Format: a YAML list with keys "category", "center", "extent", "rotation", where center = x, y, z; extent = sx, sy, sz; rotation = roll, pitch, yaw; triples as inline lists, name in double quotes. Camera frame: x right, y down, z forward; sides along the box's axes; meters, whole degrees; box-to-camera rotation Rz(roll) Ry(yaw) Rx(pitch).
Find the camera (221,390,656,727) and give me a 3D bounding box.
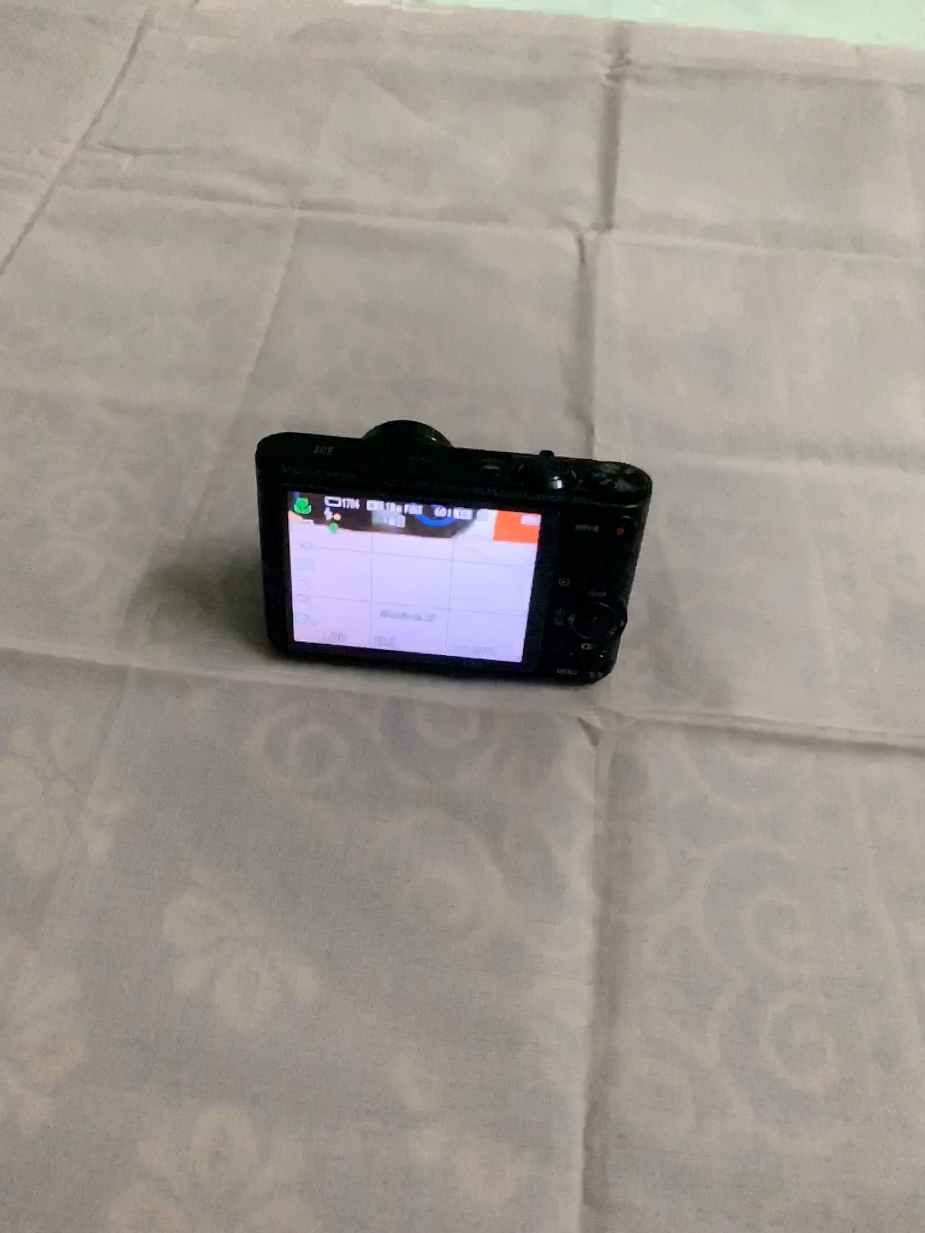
- category: "camera"
  center: [-0.006, -0.016, 0.260]
  extent: [0.100, 0.060, 0.058]
  rotation: [5, 43, 0]
